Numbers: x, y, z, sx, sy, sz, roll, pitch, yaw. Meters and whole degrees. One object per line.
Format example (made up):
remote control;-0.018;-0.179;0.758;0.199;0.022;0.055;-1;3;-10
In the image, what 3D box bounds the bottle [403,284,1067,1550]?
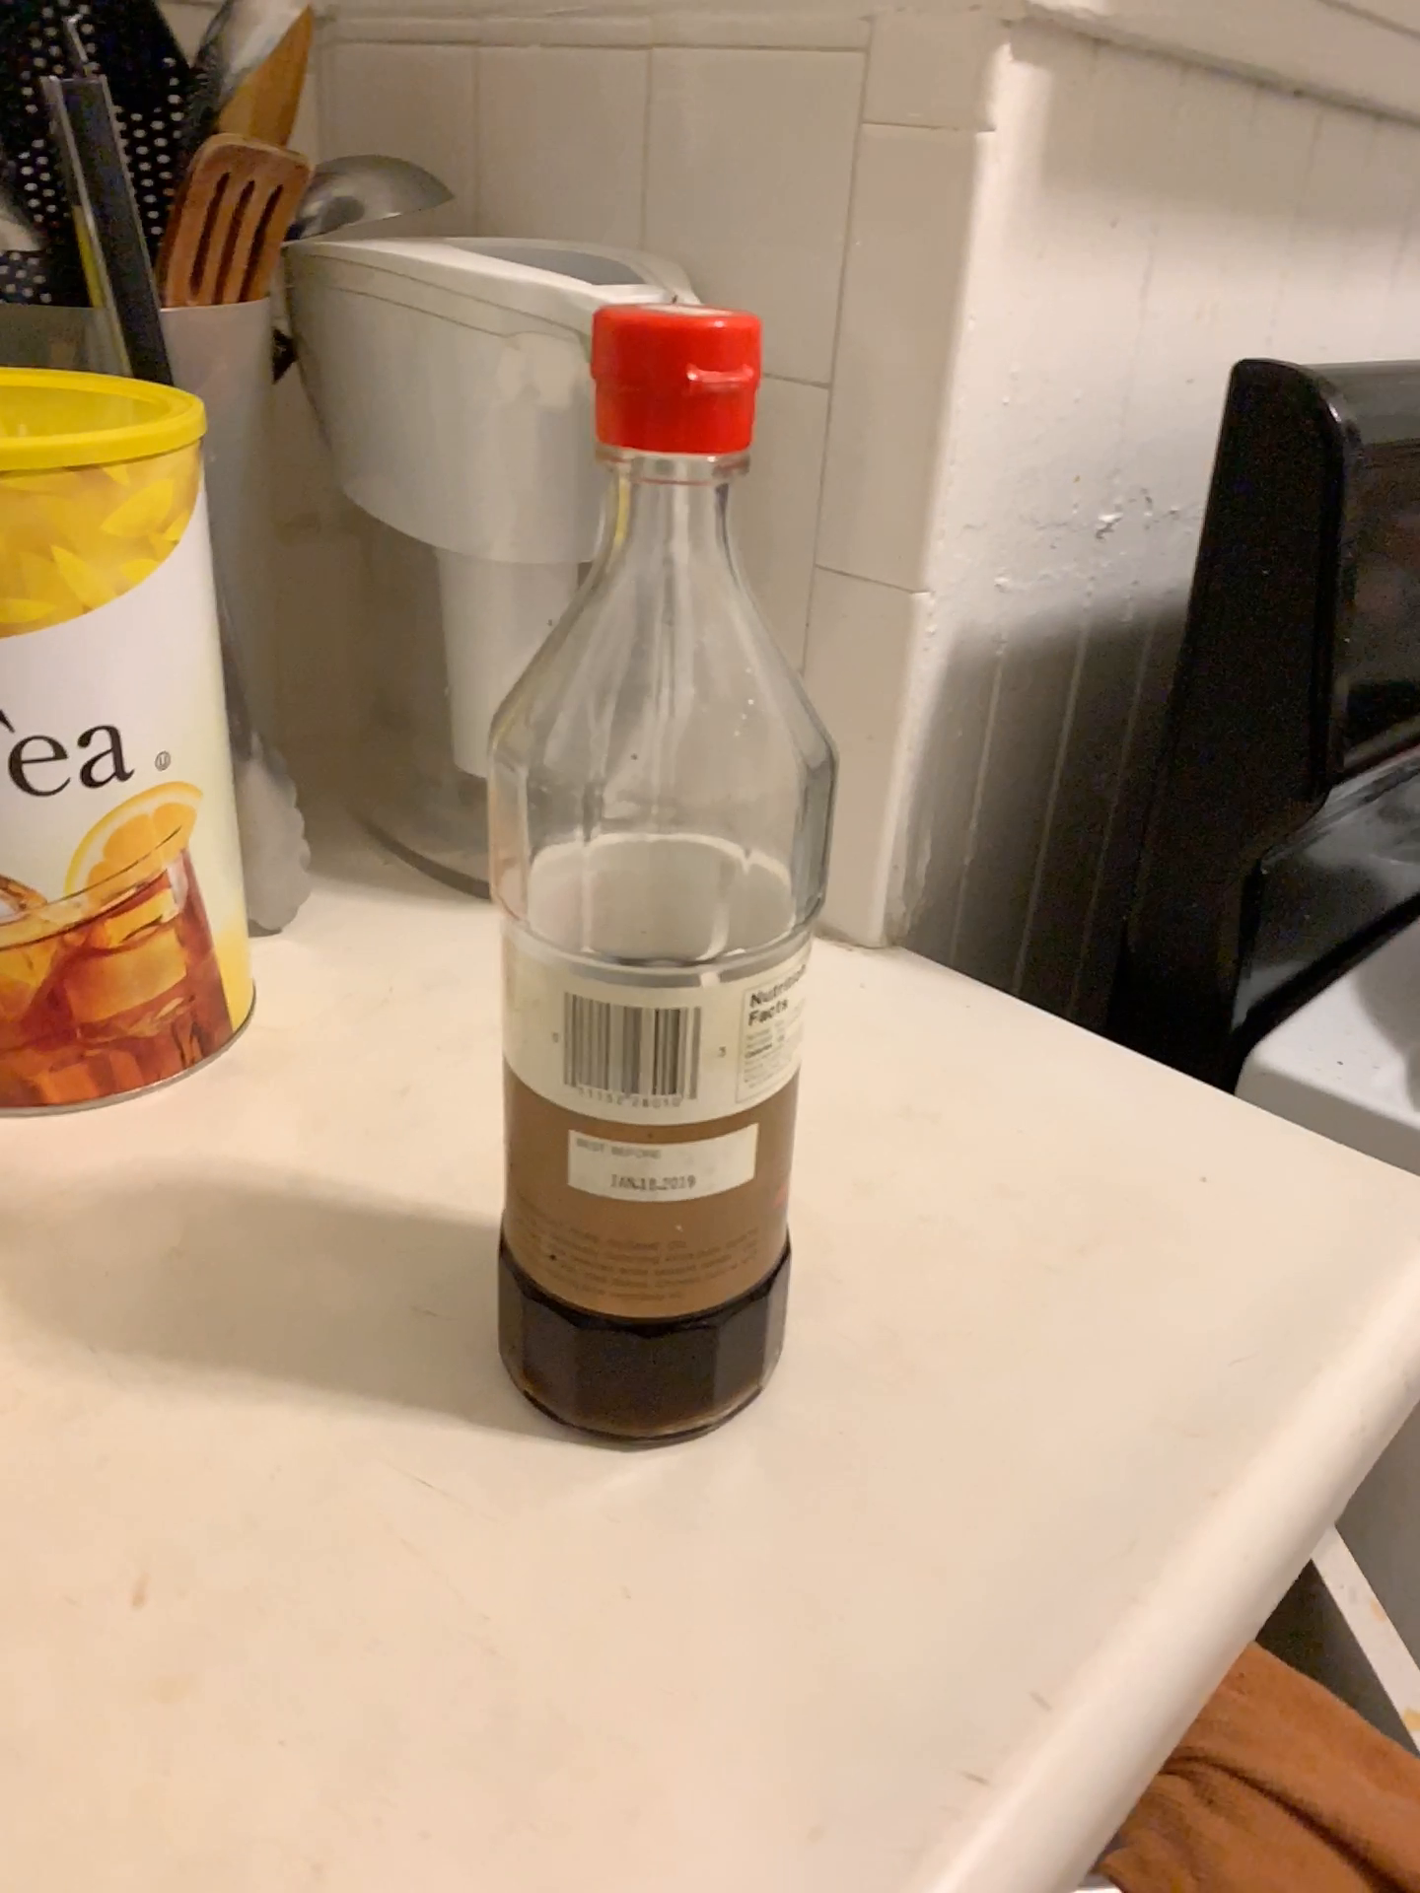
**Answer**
bottle;-0.002;-0.005;0.334;0.090;0.258;0.090;3;28;-2
